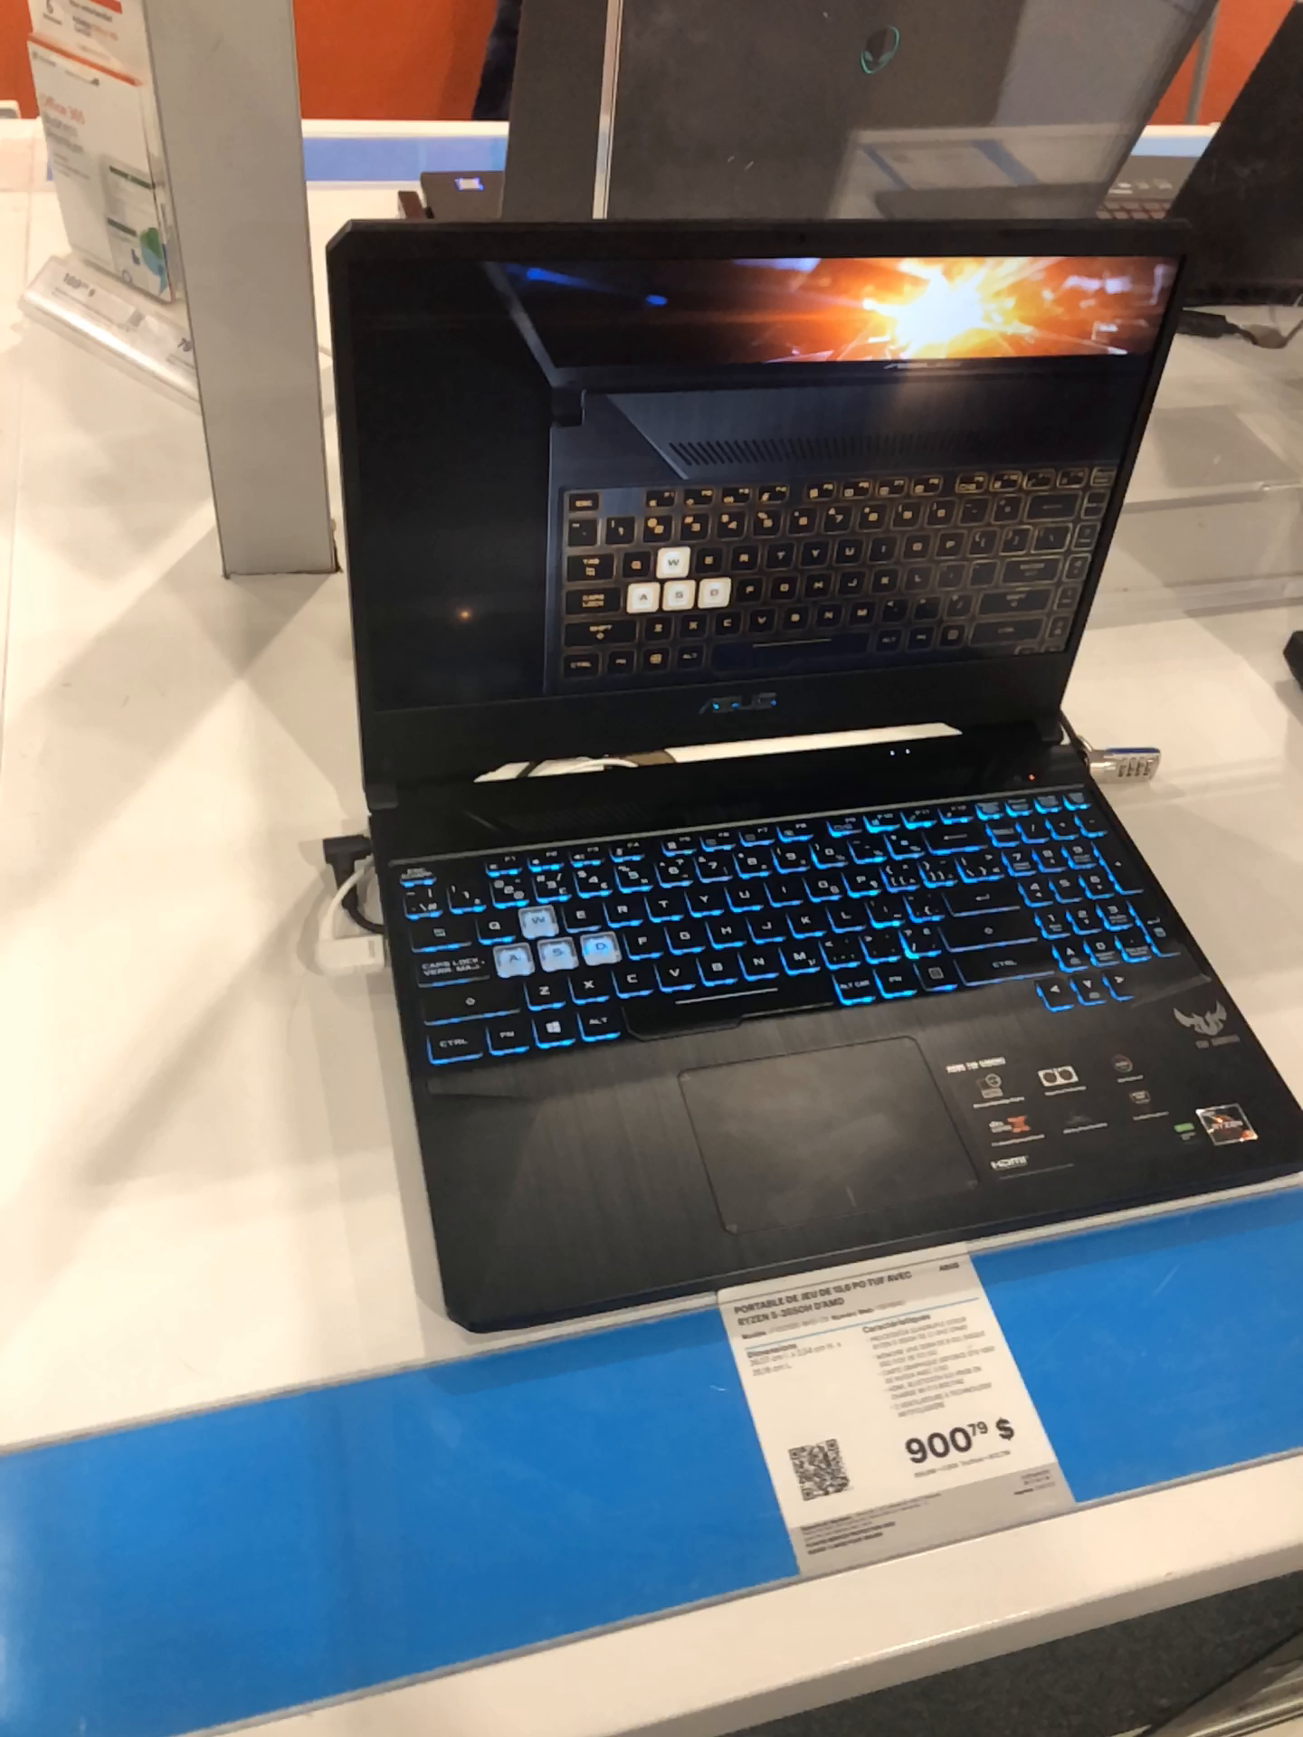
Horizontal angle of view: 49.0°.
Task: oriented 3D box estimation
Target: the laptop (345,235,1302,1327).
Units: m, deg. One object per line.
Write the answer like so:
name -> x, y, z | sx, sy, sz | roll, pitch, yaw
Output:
laptop -> 0.078, -0.055, 0.552 | 0.350, 0.235, 0.302 | -7, 49, -14
